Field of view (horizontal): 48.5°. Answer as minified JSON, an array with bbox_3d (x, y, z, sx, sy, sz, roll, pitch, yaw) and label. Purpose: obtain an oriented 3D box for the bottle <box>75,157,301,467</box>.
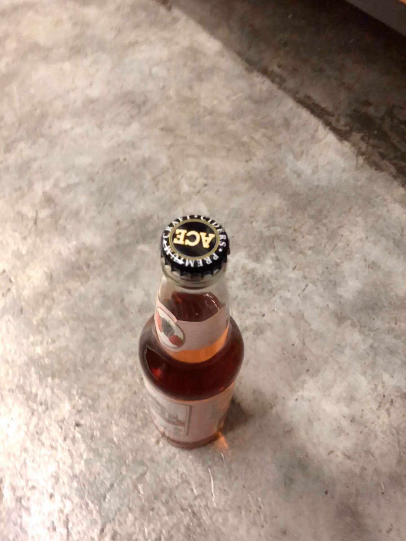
[{"bbox_3d":[-0.009,0.048,0.262,0.060,0.222,0.062,1,57,-1],"label":"bottle"}]
